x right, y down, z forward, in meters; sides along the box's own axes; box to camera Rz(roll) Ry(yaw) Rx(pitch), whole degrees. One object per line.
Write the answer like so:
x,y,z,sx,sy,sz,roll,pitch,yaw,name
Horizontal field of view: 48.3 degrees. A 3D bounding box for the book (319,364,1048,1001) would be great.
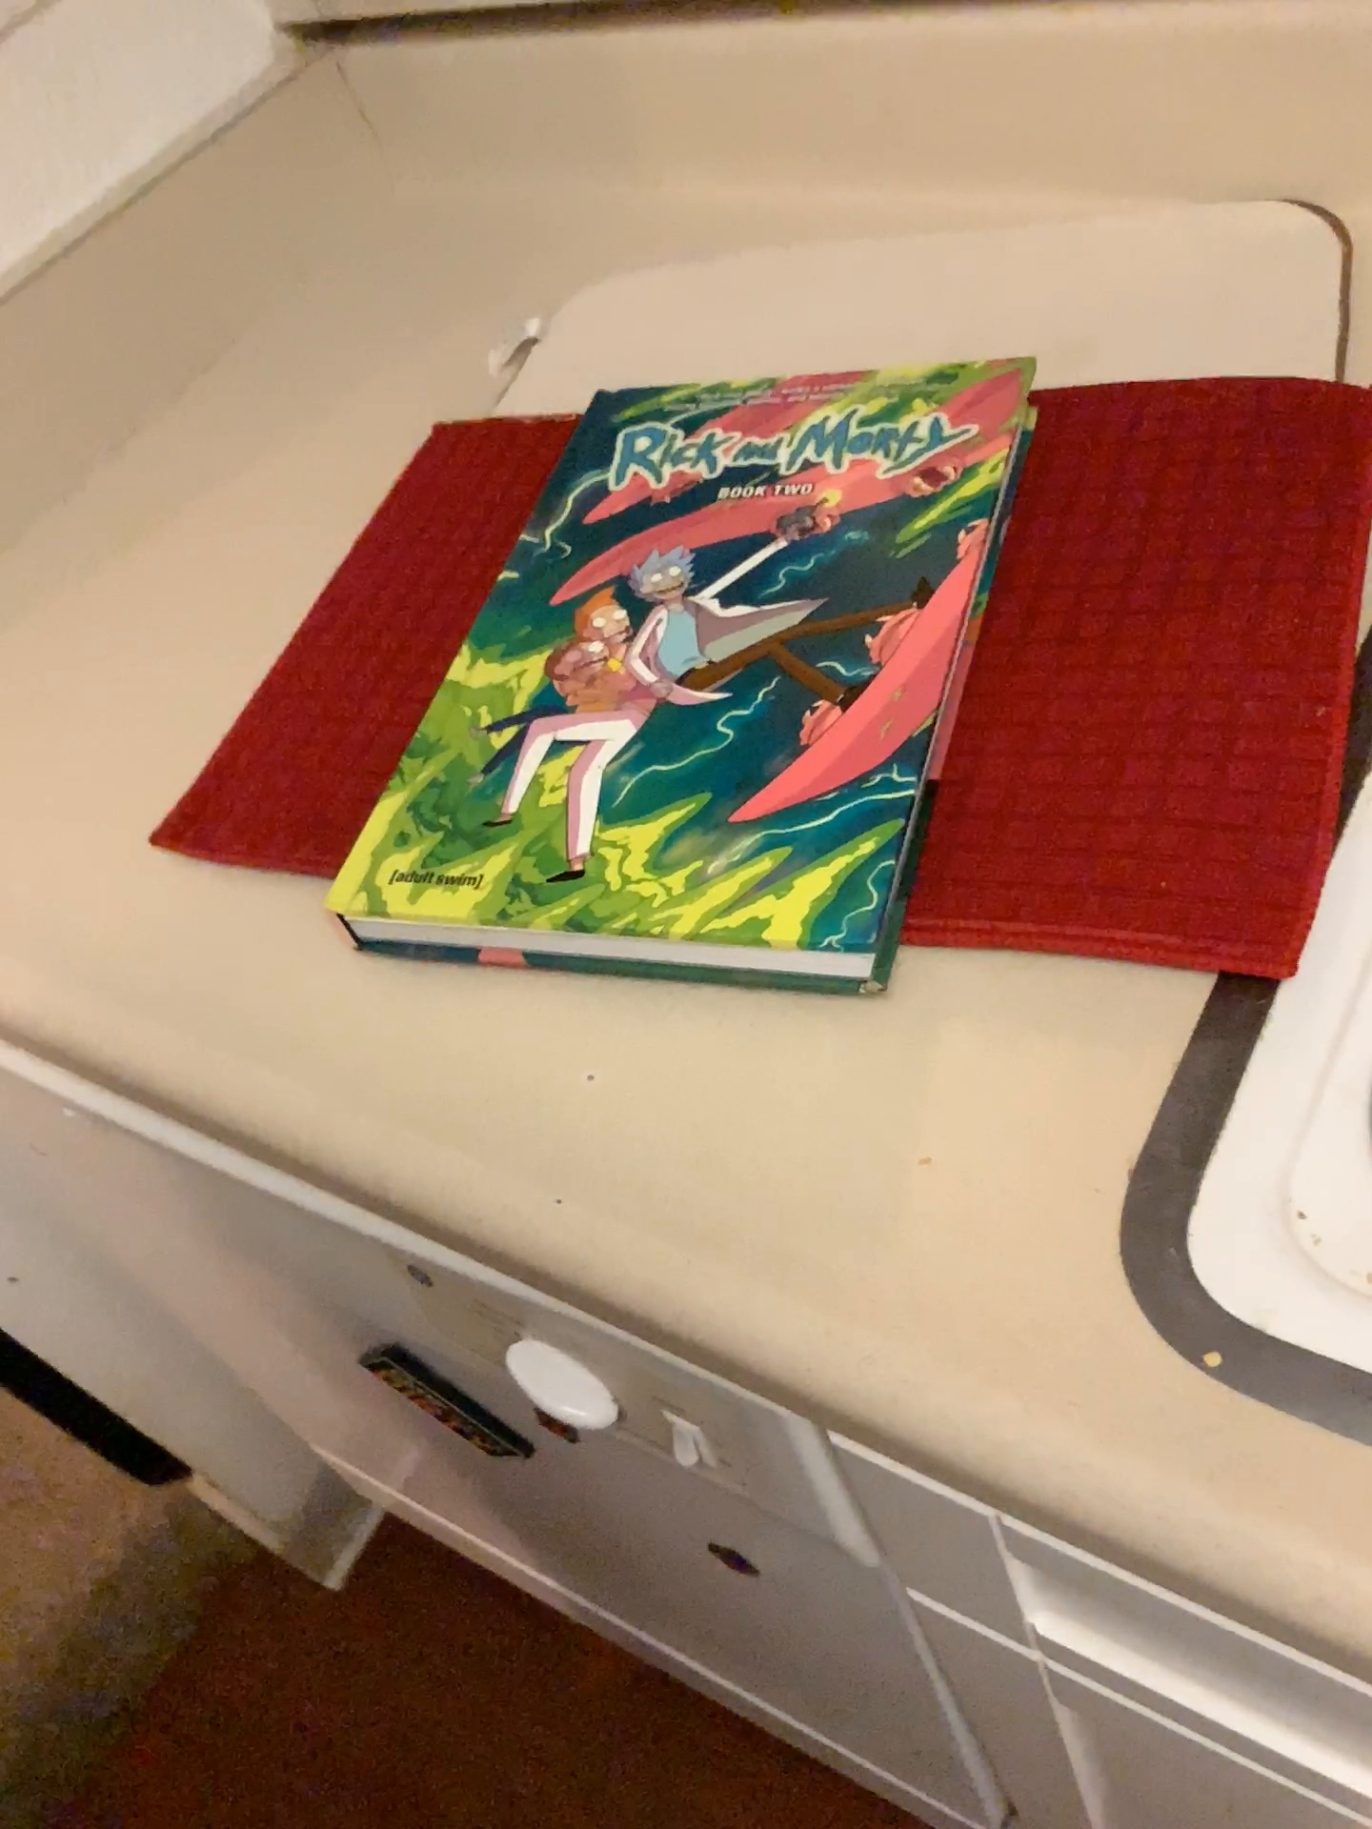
0.013,-0.105,0.586,0.200,0.030,0.300,4,52,23,book
